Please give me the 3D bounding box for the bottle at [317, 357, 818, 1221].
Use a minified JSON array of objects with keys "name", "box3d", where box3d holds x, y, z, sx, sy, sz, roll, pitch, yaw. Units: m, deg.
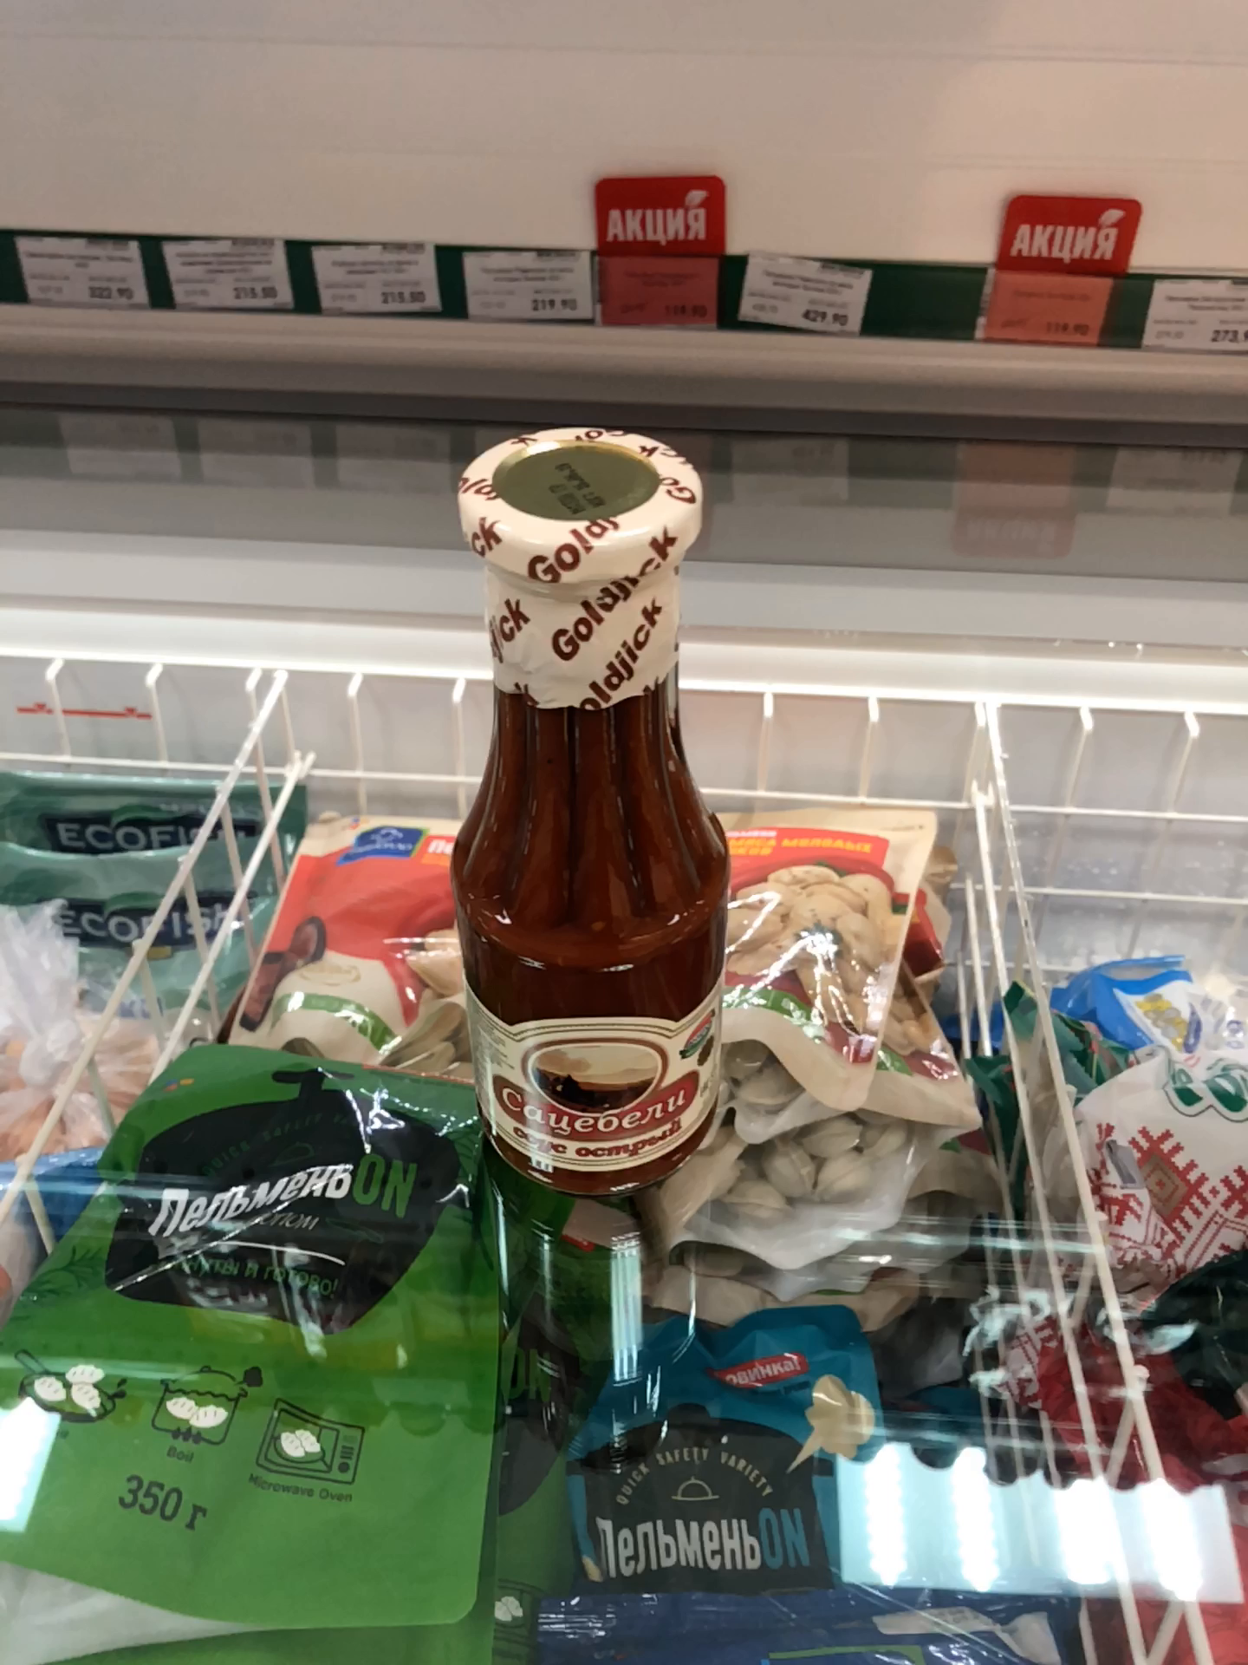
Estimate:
[{"name":"bottle","box3d":[-0.010,-0.002,0.307,0.080,0.179,0.081,1,39,-1]}]
